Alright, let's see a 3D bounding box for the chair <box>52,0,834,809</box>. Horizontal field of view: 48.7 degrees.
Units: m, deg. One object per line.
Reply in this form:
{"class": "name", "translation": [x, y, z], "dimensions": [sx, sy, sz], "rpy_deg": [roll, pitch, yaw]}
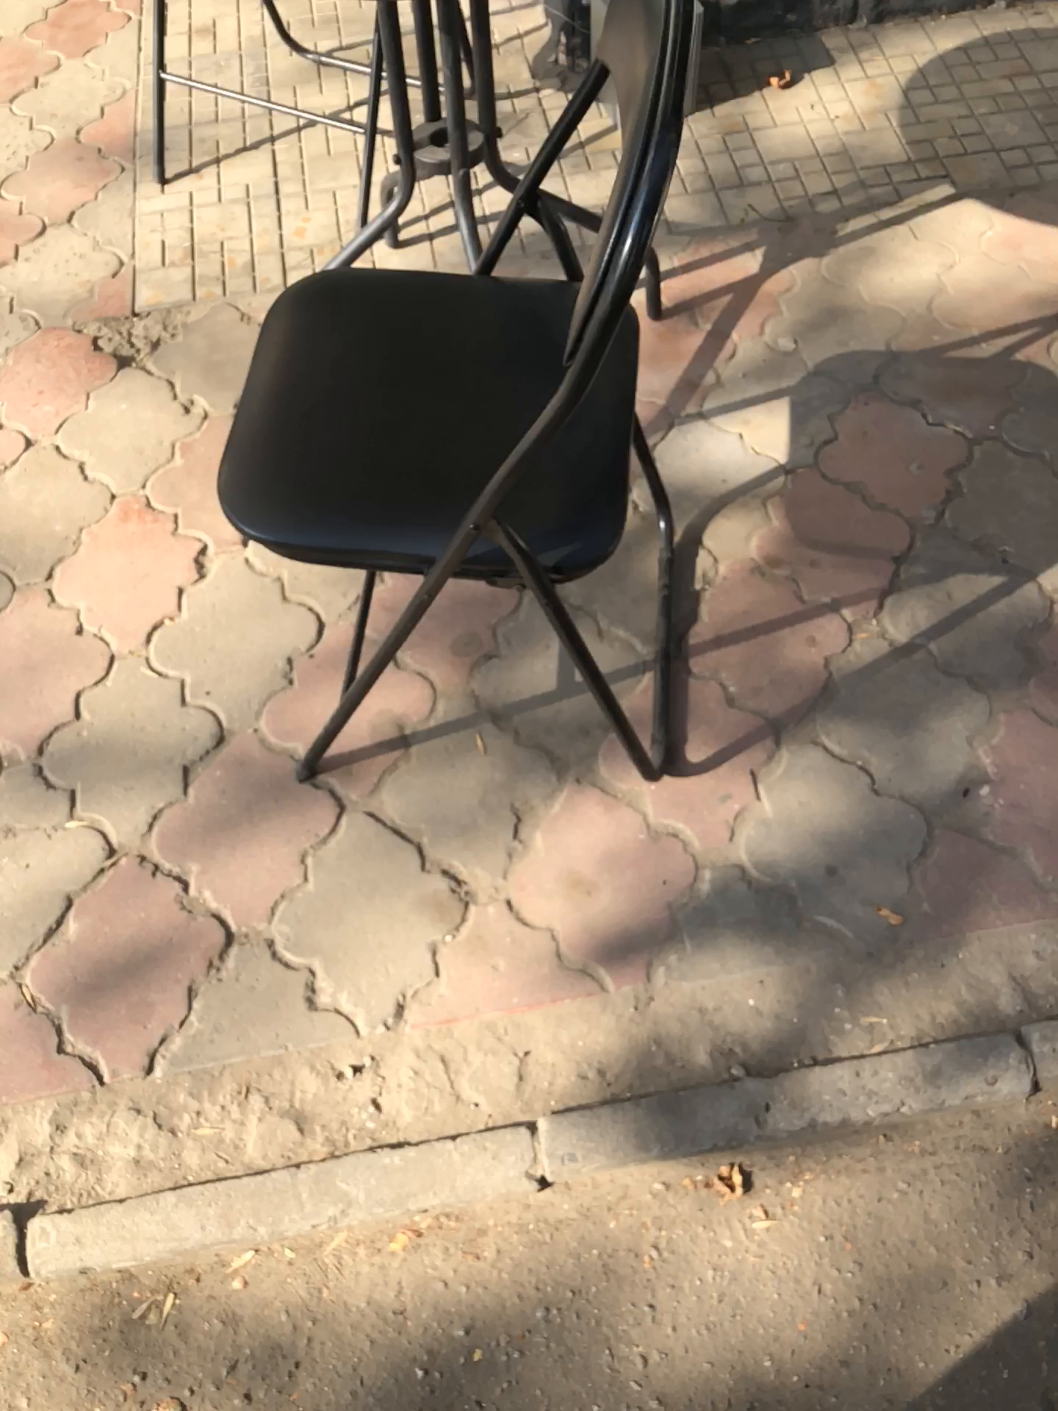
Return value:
{"class": "chair", "translation": [-0.029, -0.374, 1.349], "dimensions": [0.570, 0.838, 0.582], "rpy_deg": [4, 52, 5]}
